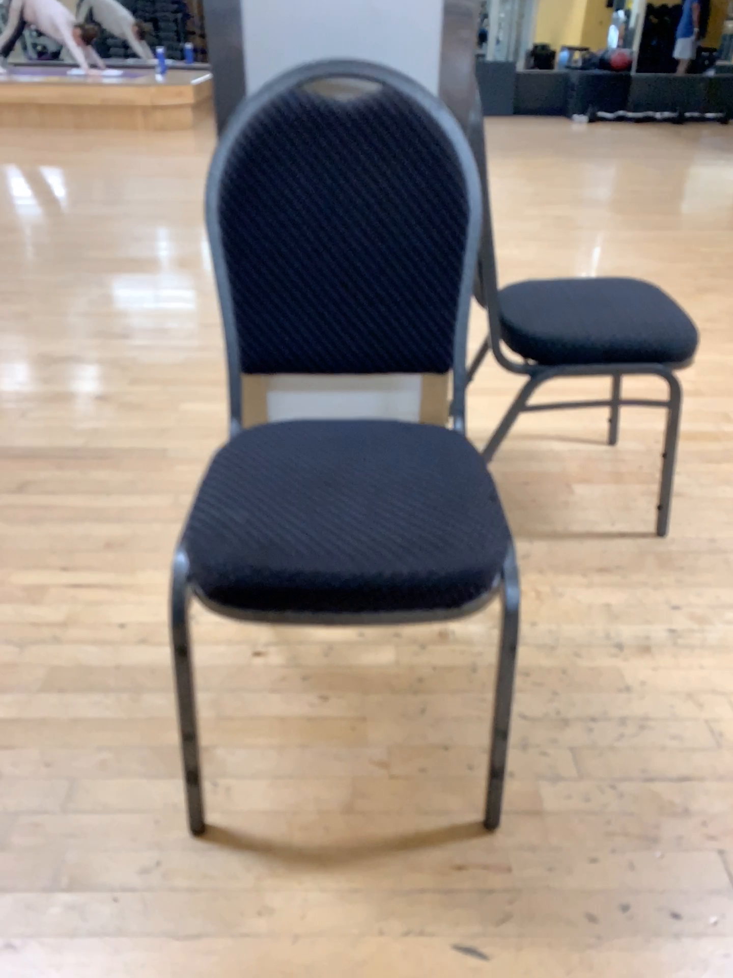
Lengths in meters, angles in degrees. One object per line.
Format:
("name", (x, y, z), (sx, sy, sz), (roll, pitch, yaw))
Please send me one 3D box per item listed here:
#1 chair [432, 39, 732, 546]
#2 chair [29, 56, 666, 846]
("chair", (0.450, -0.398, 1.553), (0.553, 0.920, 0.464), (2, 33, 2))
("chair", (-0.017, -0.045, 1.014), (0.461, 0.920, 0.557), (1, 33, 0))
